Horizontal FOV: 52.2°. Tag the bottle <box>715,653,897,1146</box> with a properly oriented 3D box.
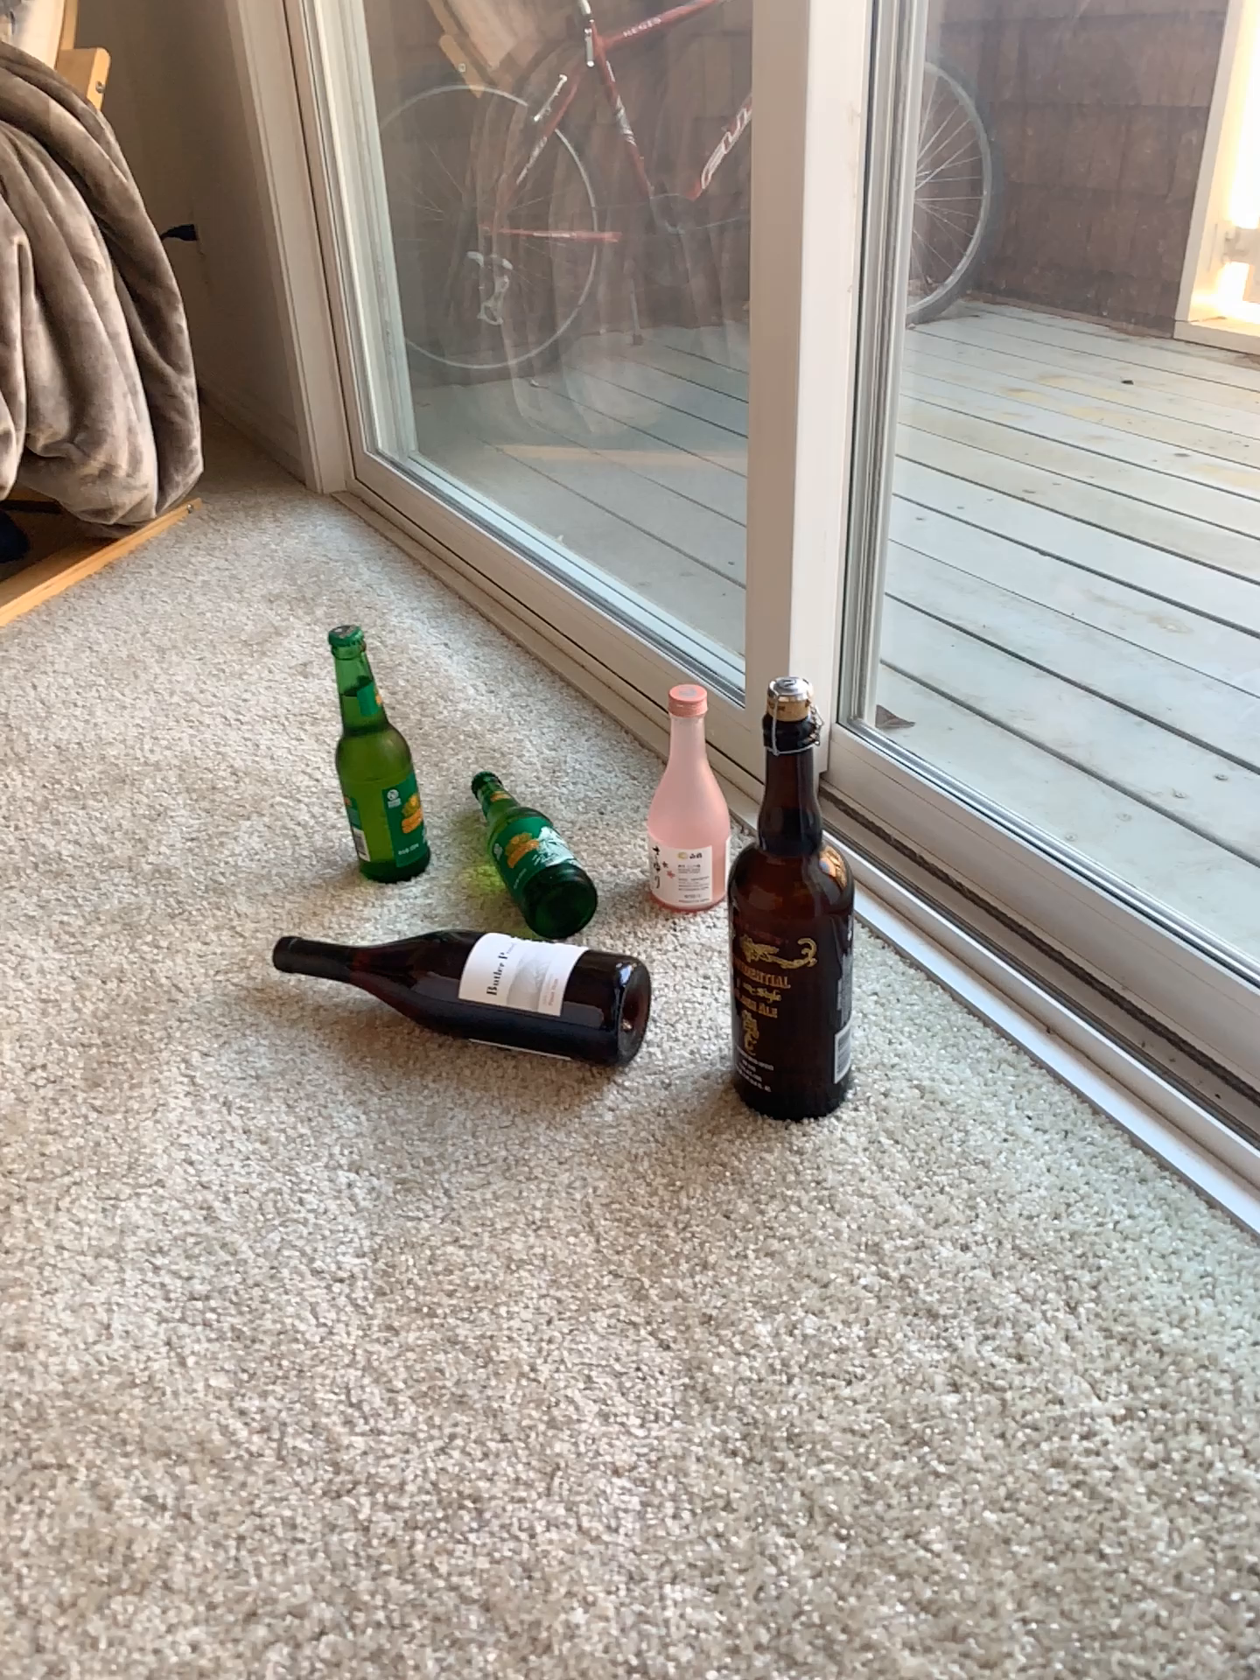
[{"bbox_3d":[0.104,0.041,0.785,0.080,0.288,0.090,9,33,18],"label":"bottle"}]

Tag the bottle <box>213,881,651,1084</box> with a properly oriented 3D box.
[{"bbox_3d":[-0.135,0.094,0.883,0.290,0.060,0.070,8,33,16],"label":"bottle"}]

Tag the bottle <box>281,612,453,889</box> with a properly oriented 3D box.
[{"bbox_3d":[-0.207,-0.071,1.036,0.080,0.199,0.080,-2,32,1],"label":"bottle"}]

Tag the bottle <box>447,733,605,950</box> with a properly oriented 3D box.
[{"bbox_3d":[-0.089,-0.006,1.053,0.060,0.060,0.232,-13,34,-17],"label":"bottle"}]

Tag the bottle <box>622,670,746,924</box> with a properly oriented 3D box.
[{"bbox_3d":[0.043,-0.033,0.993,0.070,0.169,0.080,9,34,18],"label":"bottle"}]
